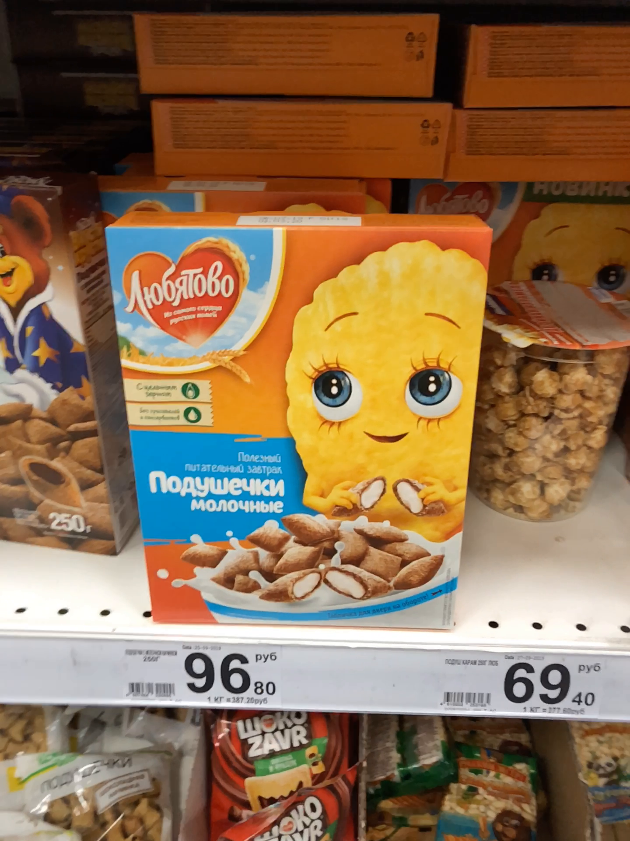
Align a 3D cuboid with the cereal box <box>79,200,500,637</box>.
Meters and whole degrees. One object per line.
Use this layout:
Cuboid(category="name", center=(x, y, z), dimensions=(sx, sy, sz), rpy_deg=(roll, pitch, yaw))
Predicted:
Cuboid(category="cereal box", center=(-0.012, 0.007, 0.369), dimensions=(0.180, 0.229, 0.050), rpy_deg=(1, 25, 1))
